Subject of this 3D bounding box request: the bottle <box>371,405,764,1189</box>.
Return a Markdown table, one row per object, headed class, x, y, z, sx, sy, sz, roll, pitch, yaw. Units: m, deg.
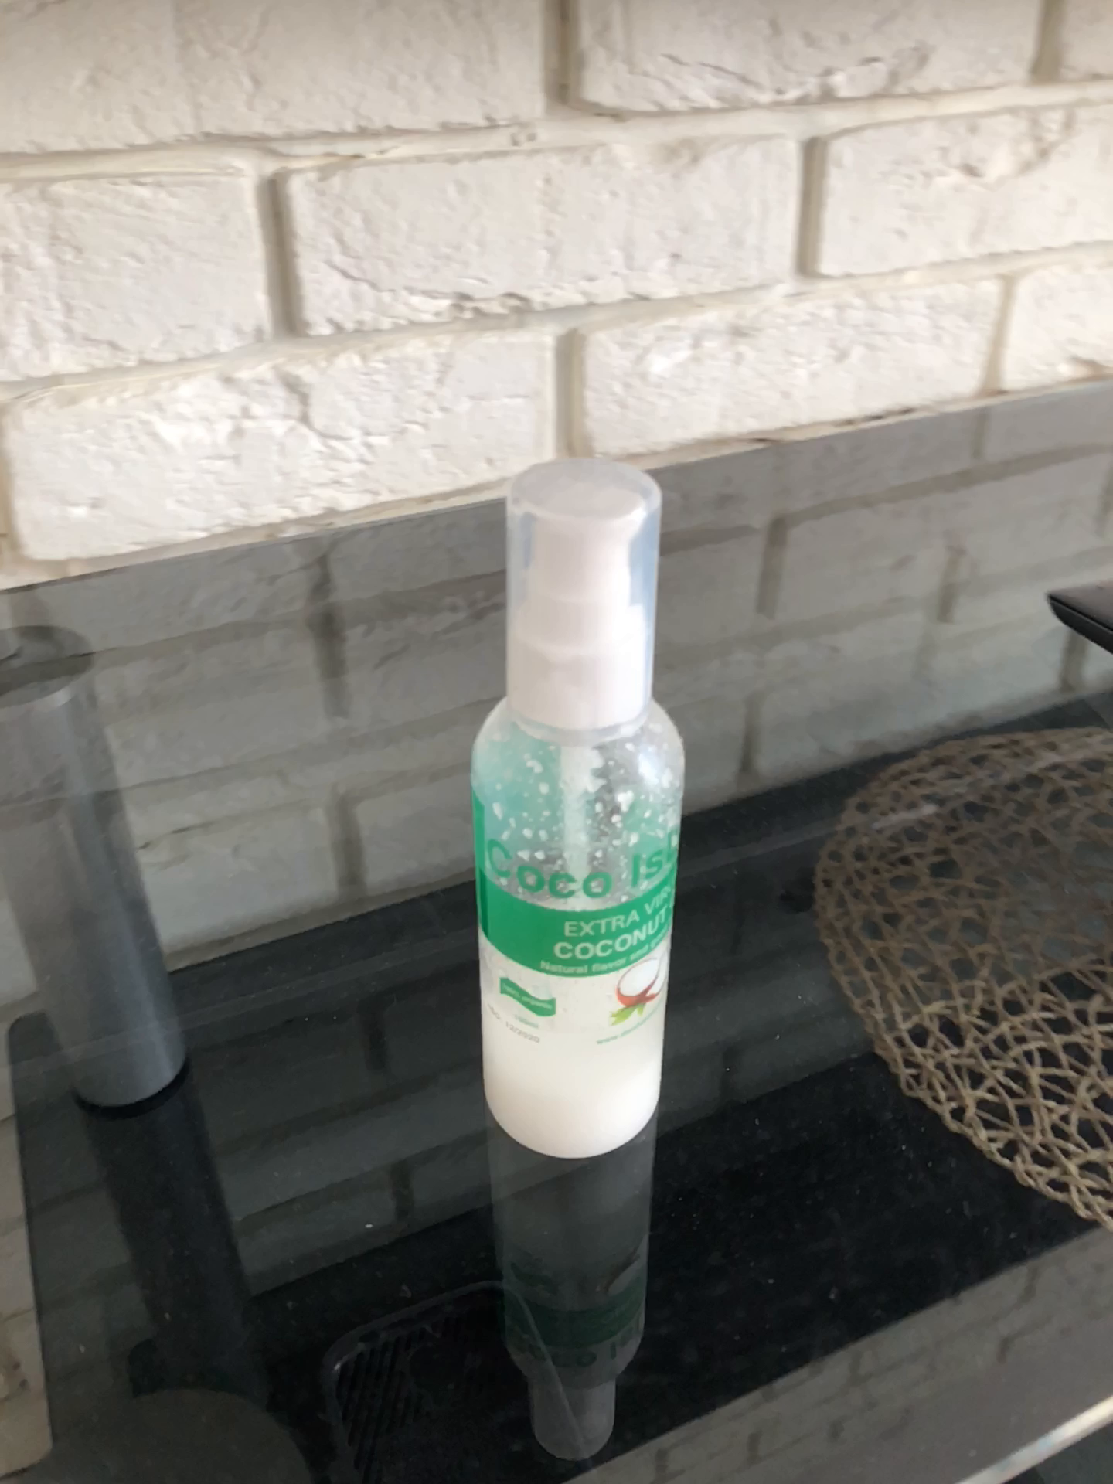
| class | x | y | z | sx | sy | sz | roll | pitch | yaw |
| --- | --- | --- | --- | --- | --- | --- | --- | --- | --- |
| bottle | 0.000 | 0.015 | 0.235 | 0.050 | 0.139 | 0.050 | 0 | 34 | 0 |
